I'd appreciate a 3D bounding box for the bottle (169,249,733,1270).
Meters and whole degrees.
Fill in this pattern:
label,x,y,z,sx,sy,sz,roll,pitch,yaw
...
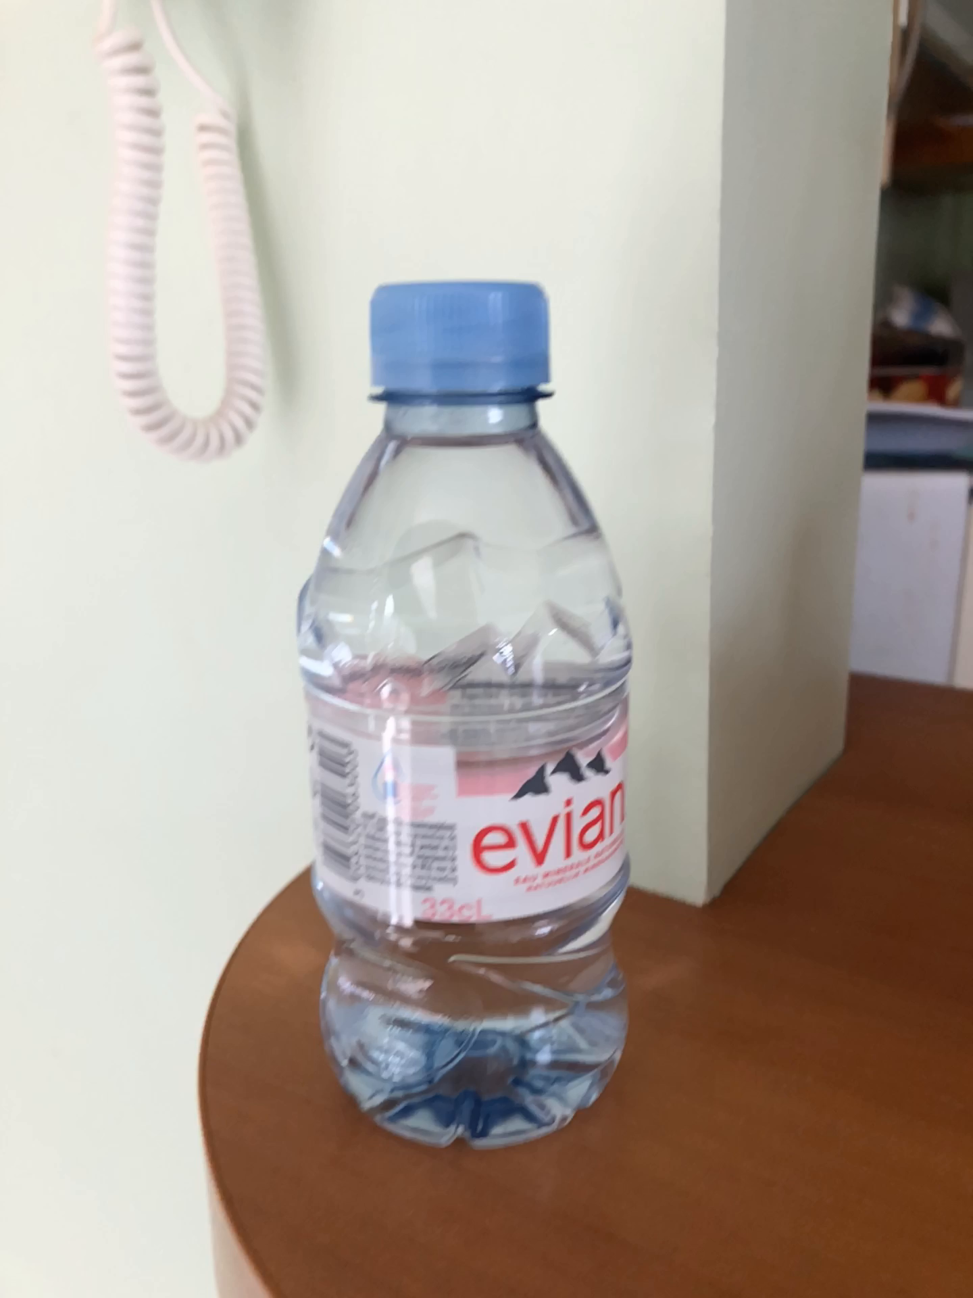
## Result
label,x,y,z,sx,sy,sz,roll,pitch,yaw
bottle,-0.007,0.013,0.208,0.070,0.159,0.070,-1,15,0
